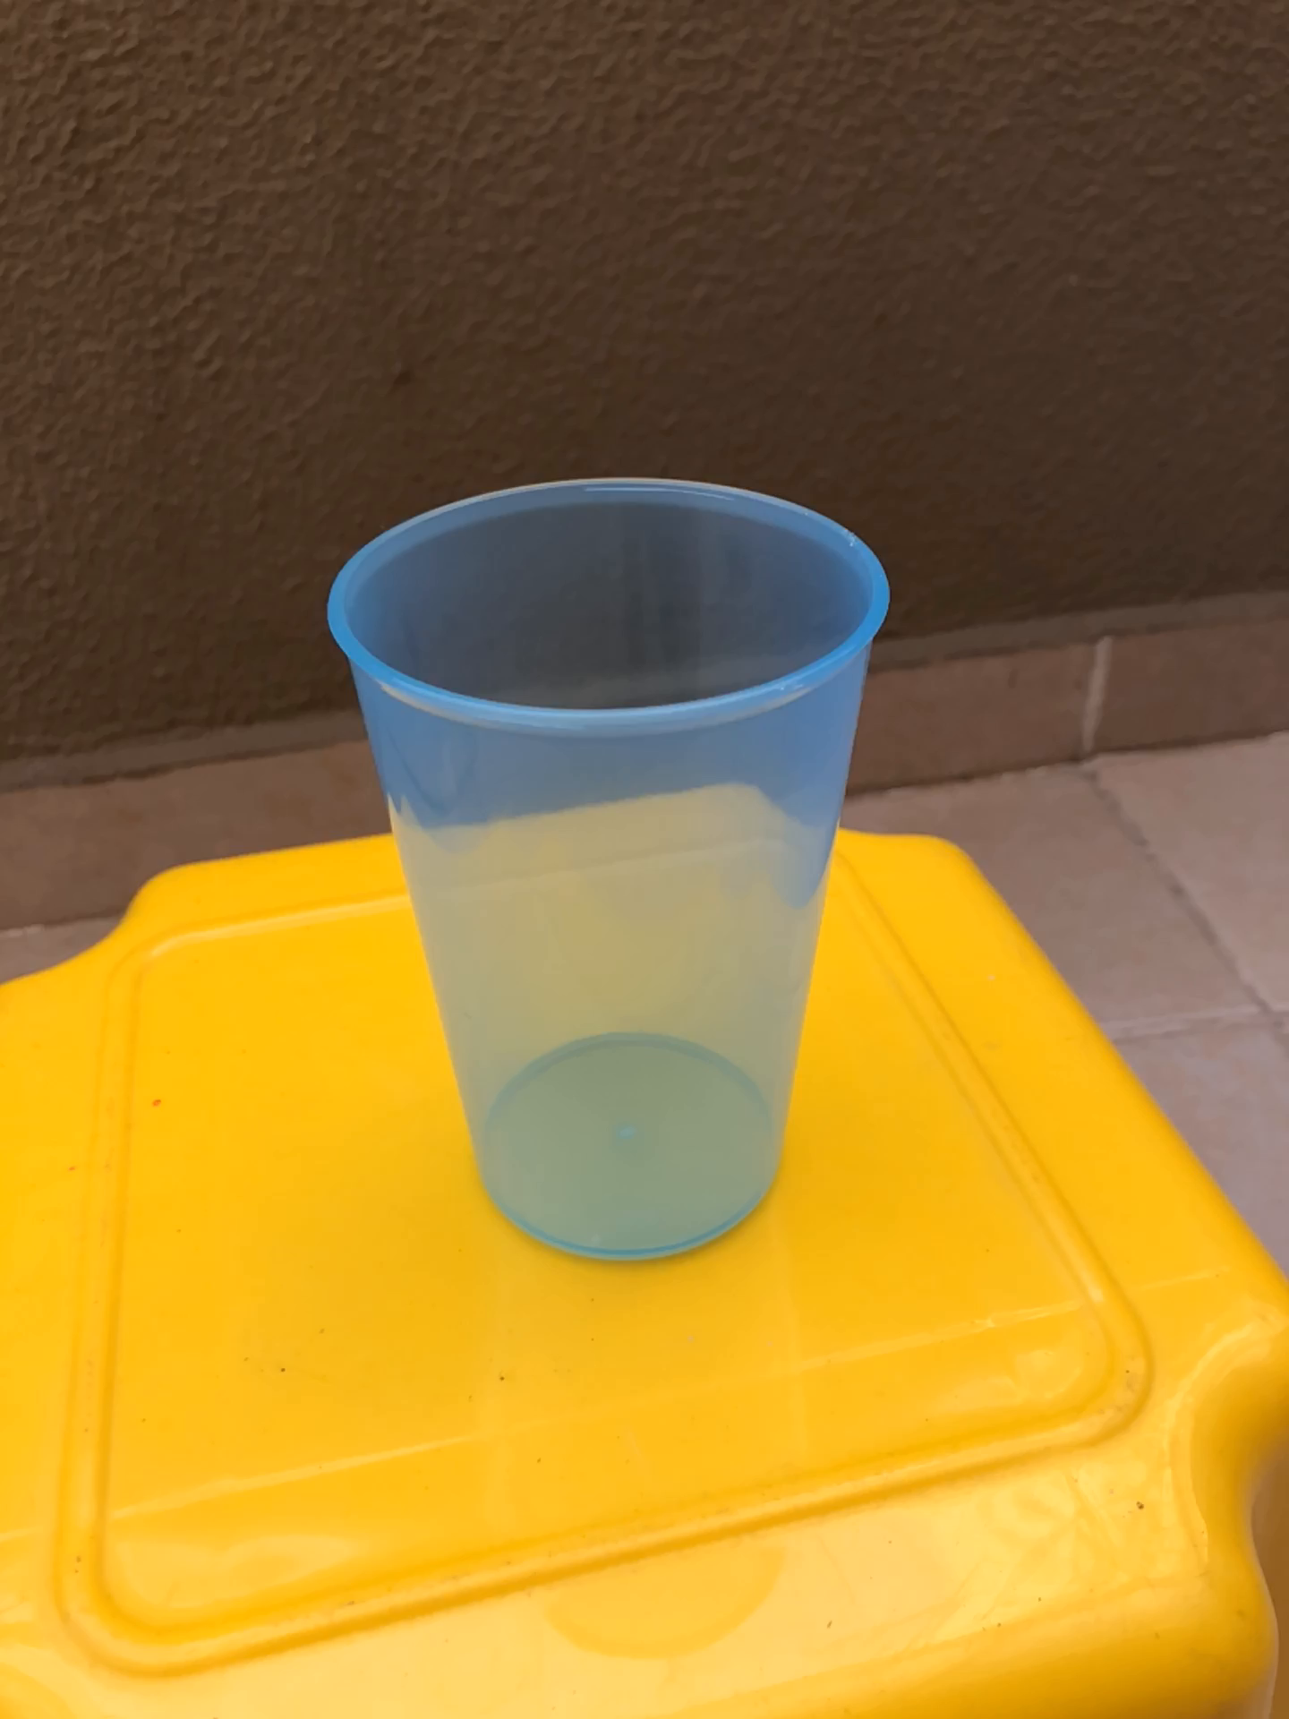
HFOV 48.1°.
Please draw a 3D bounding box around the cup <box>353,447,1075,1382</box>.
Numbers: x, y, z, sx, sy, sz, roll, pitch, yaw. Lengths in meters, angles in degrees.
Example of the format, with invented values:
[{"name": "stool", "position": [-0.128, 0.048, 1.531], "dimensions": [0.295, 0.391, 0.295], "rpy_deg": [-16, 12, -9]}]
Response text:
[{"name": "cup", "position": [0.005, 0.004, 0.217], "dimensions": [0.070, 0.099, 0.080], "rpy_deg": [-13, 36, -15]}]
